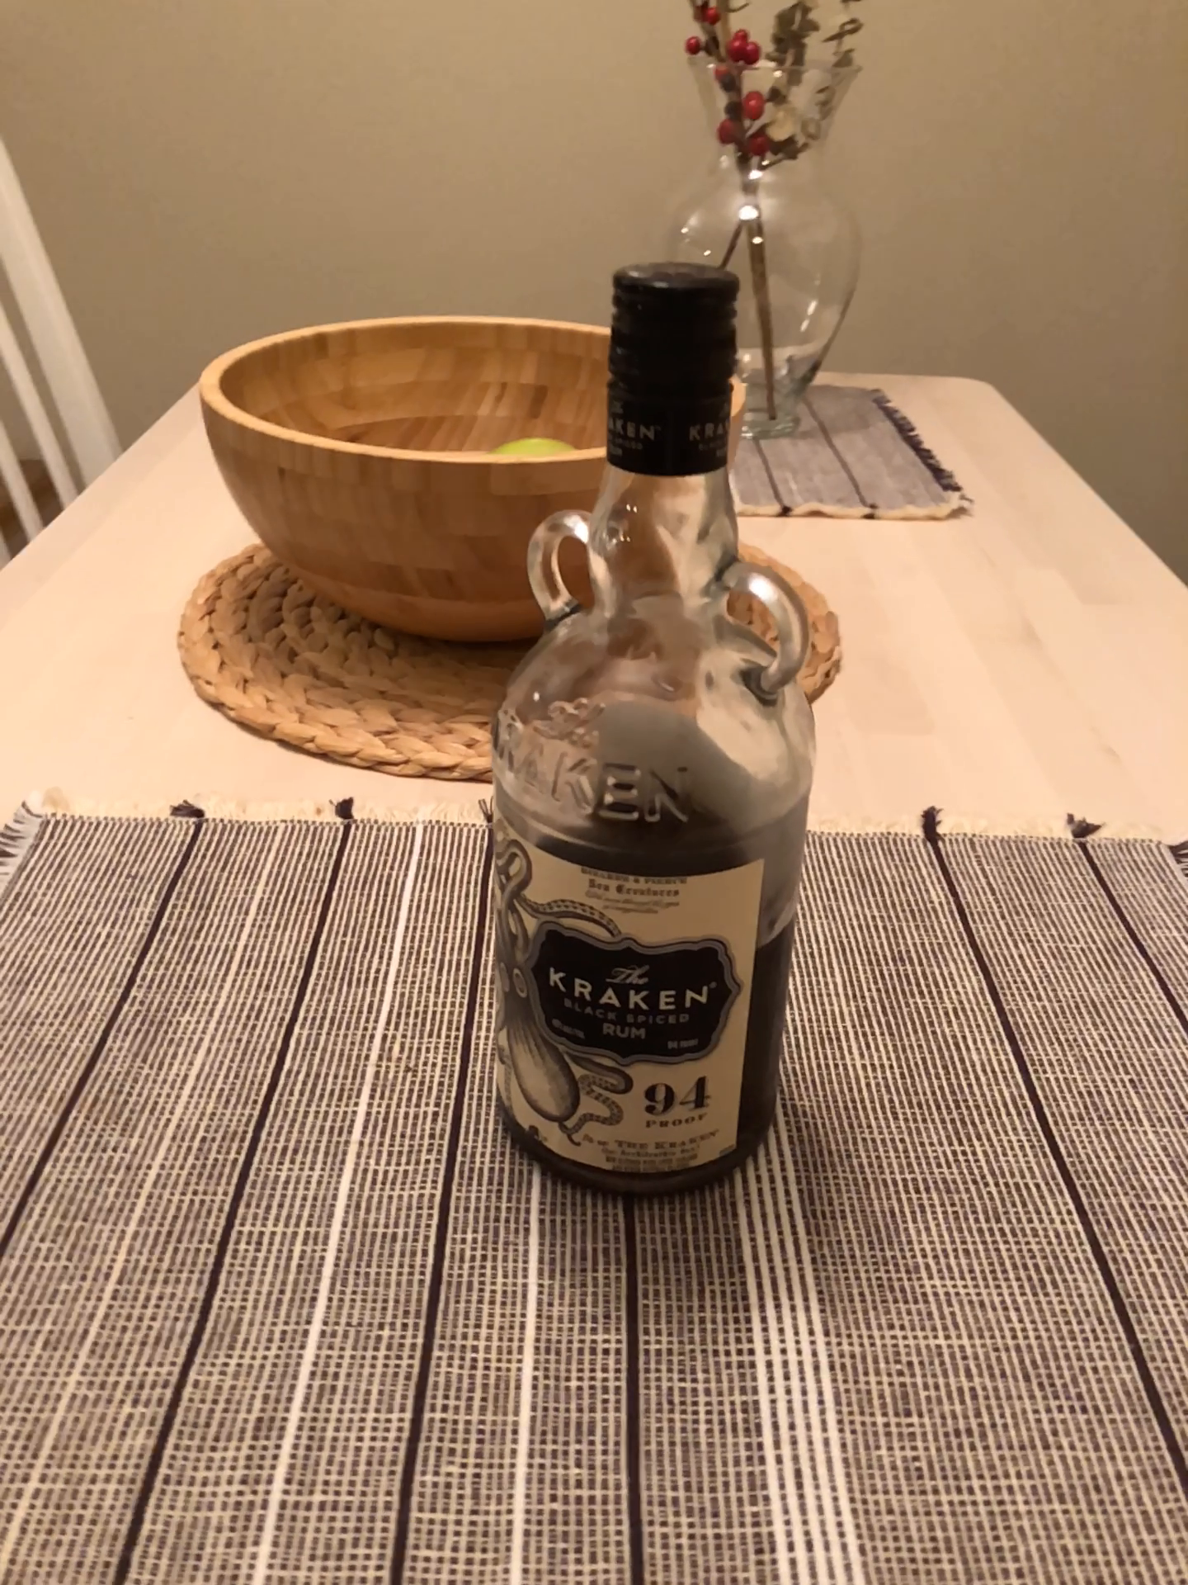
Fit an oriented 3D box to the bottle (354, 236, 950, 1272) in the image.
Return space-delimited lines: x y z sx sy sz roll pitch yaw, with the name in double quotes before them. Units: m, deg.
"bottle" 0.013 -0.009 0.362 0.100 0.248 0.101 2 30 -1
